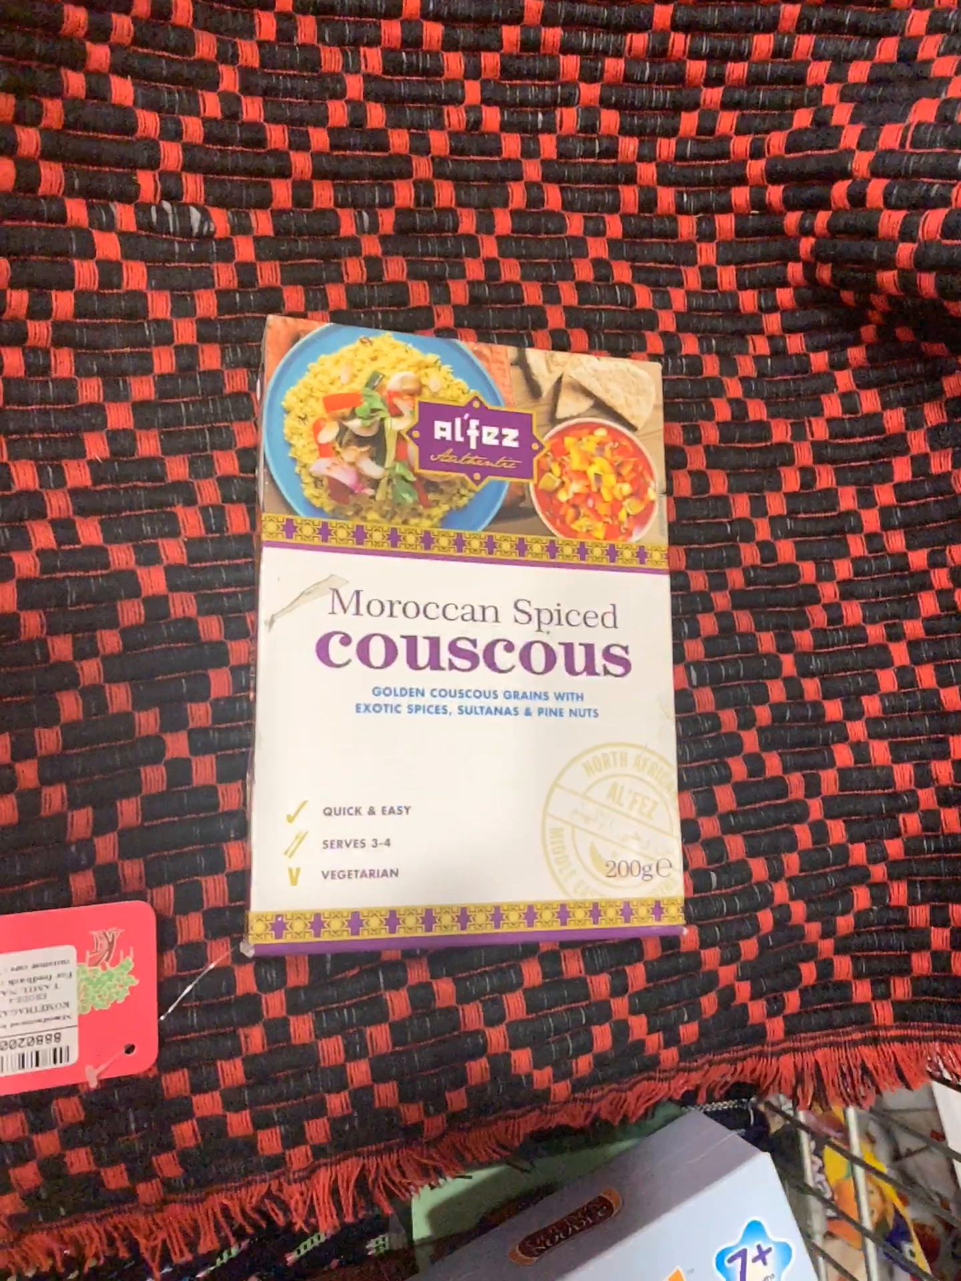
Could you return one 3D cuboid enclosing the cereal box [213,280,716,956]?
[{"bbox_3d":[-0.006,-0.003,0.269,0.120,0.050,0.160,3,79,-16],"label":"cereal box"}]
